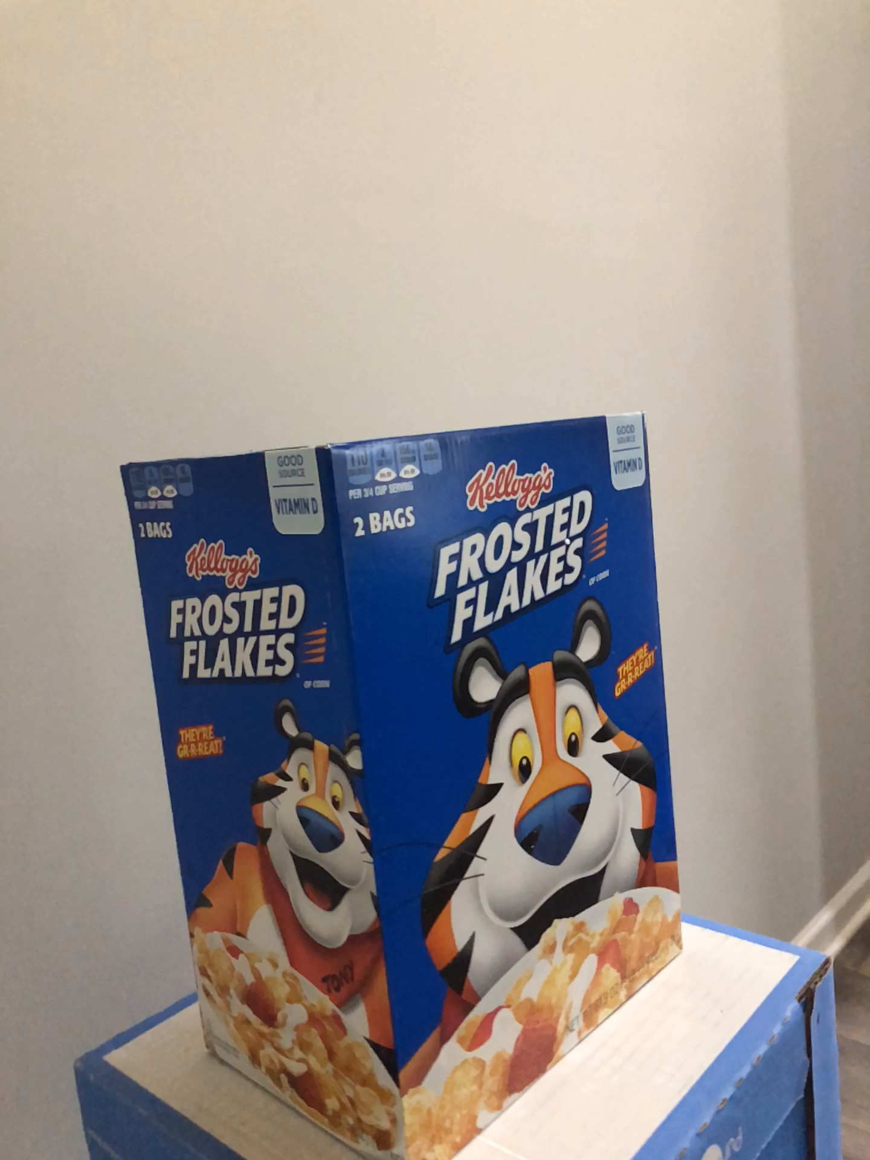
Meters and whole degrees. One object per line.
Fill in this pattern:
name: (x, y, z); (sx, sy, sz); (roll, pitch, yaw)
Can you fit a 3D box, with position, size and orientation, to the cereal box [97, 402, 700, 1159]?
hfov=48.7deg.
cereal box: (-0.003, 0.076, 0.539); (0.170, 0.319, 0.260); (2, 11, 44)
